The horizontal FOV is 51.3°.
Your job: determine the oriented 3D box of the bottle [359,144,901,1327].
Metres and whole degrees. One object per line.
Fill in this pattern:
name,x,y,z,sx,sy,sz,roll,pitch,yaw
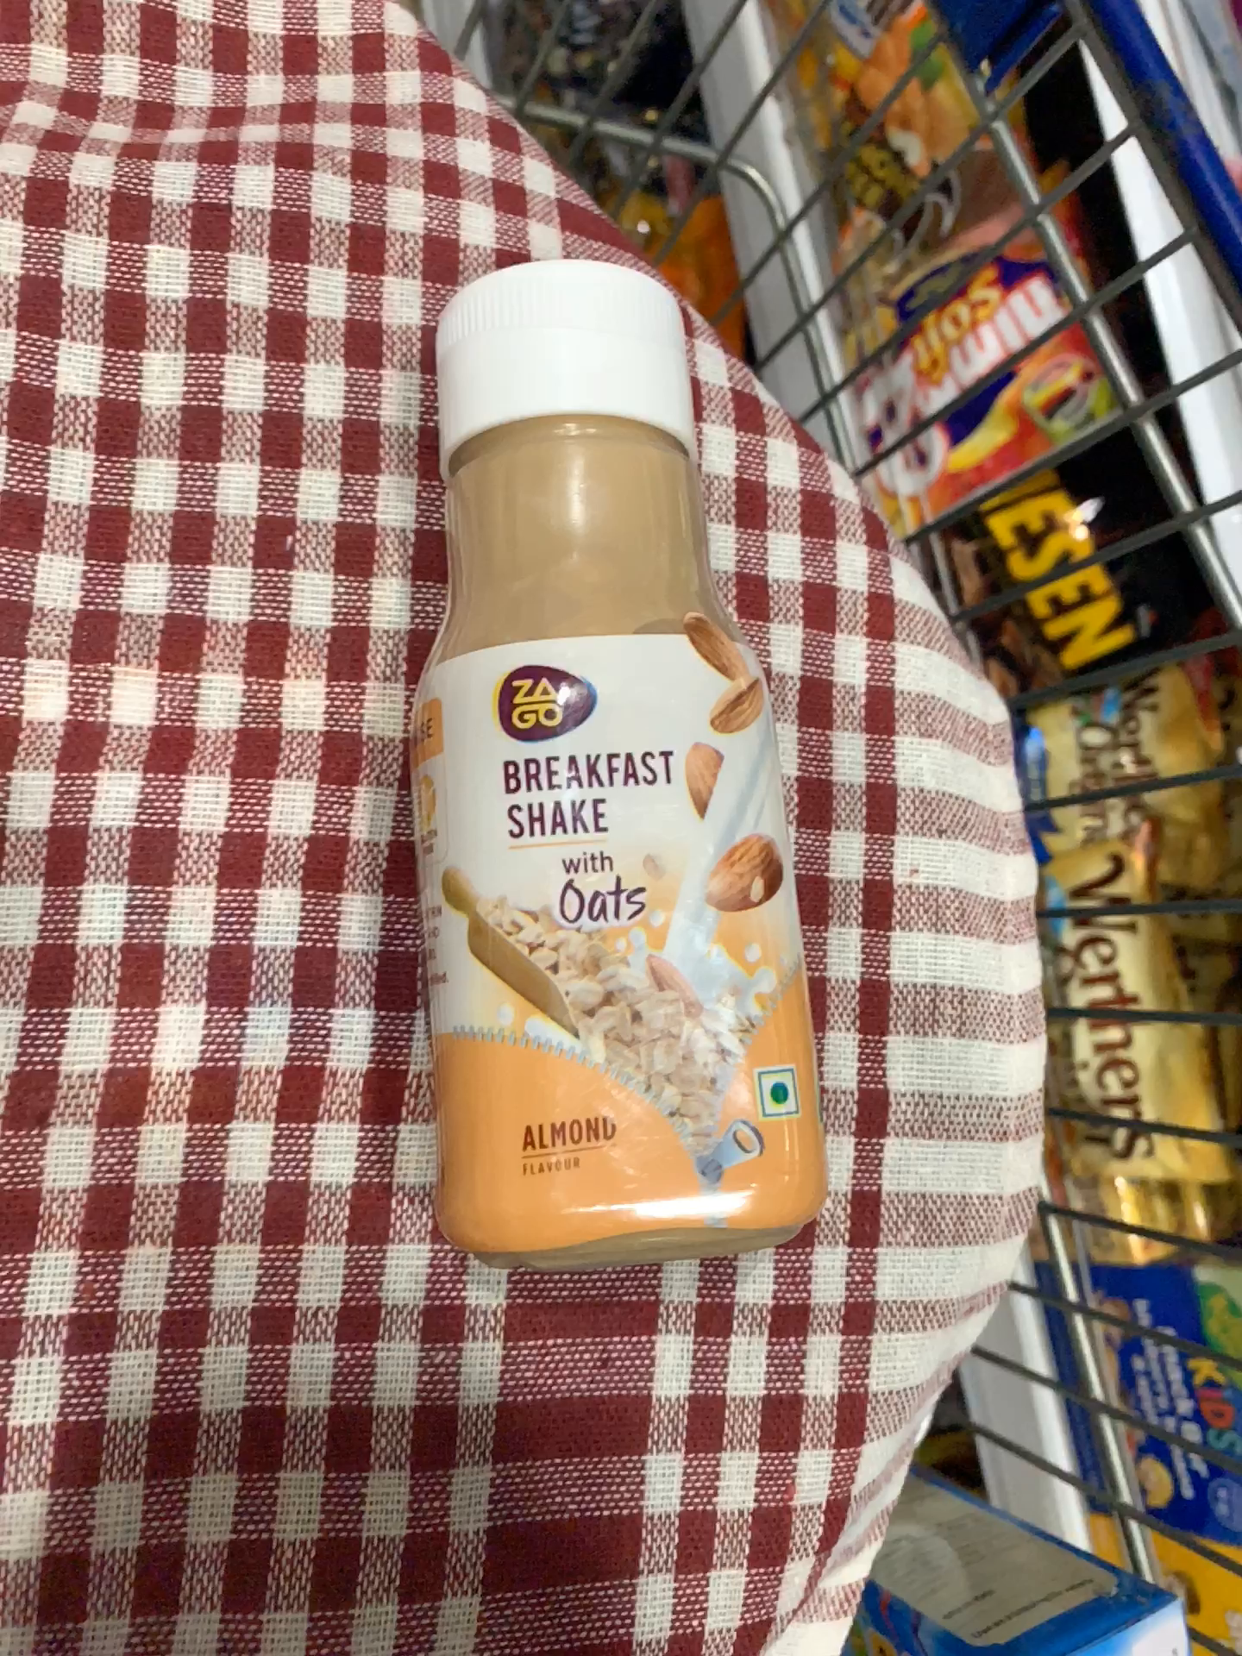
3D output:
bottle,-0.002,-0.012,0.185,0.060,0.050,0.140,-1,87,-18
